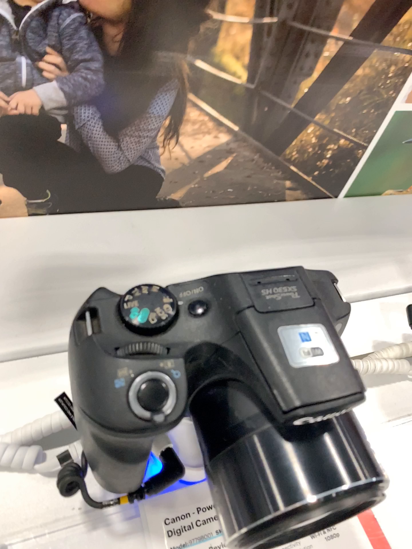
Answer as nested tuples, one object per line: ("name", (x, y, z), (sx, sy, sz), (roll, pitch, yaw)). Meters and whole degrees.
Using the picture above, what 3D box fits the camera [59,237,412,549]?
("camera", (0.015, 0.051, 0.168), (0.124, 0.080, 0.090), (-8, 48, -23))
